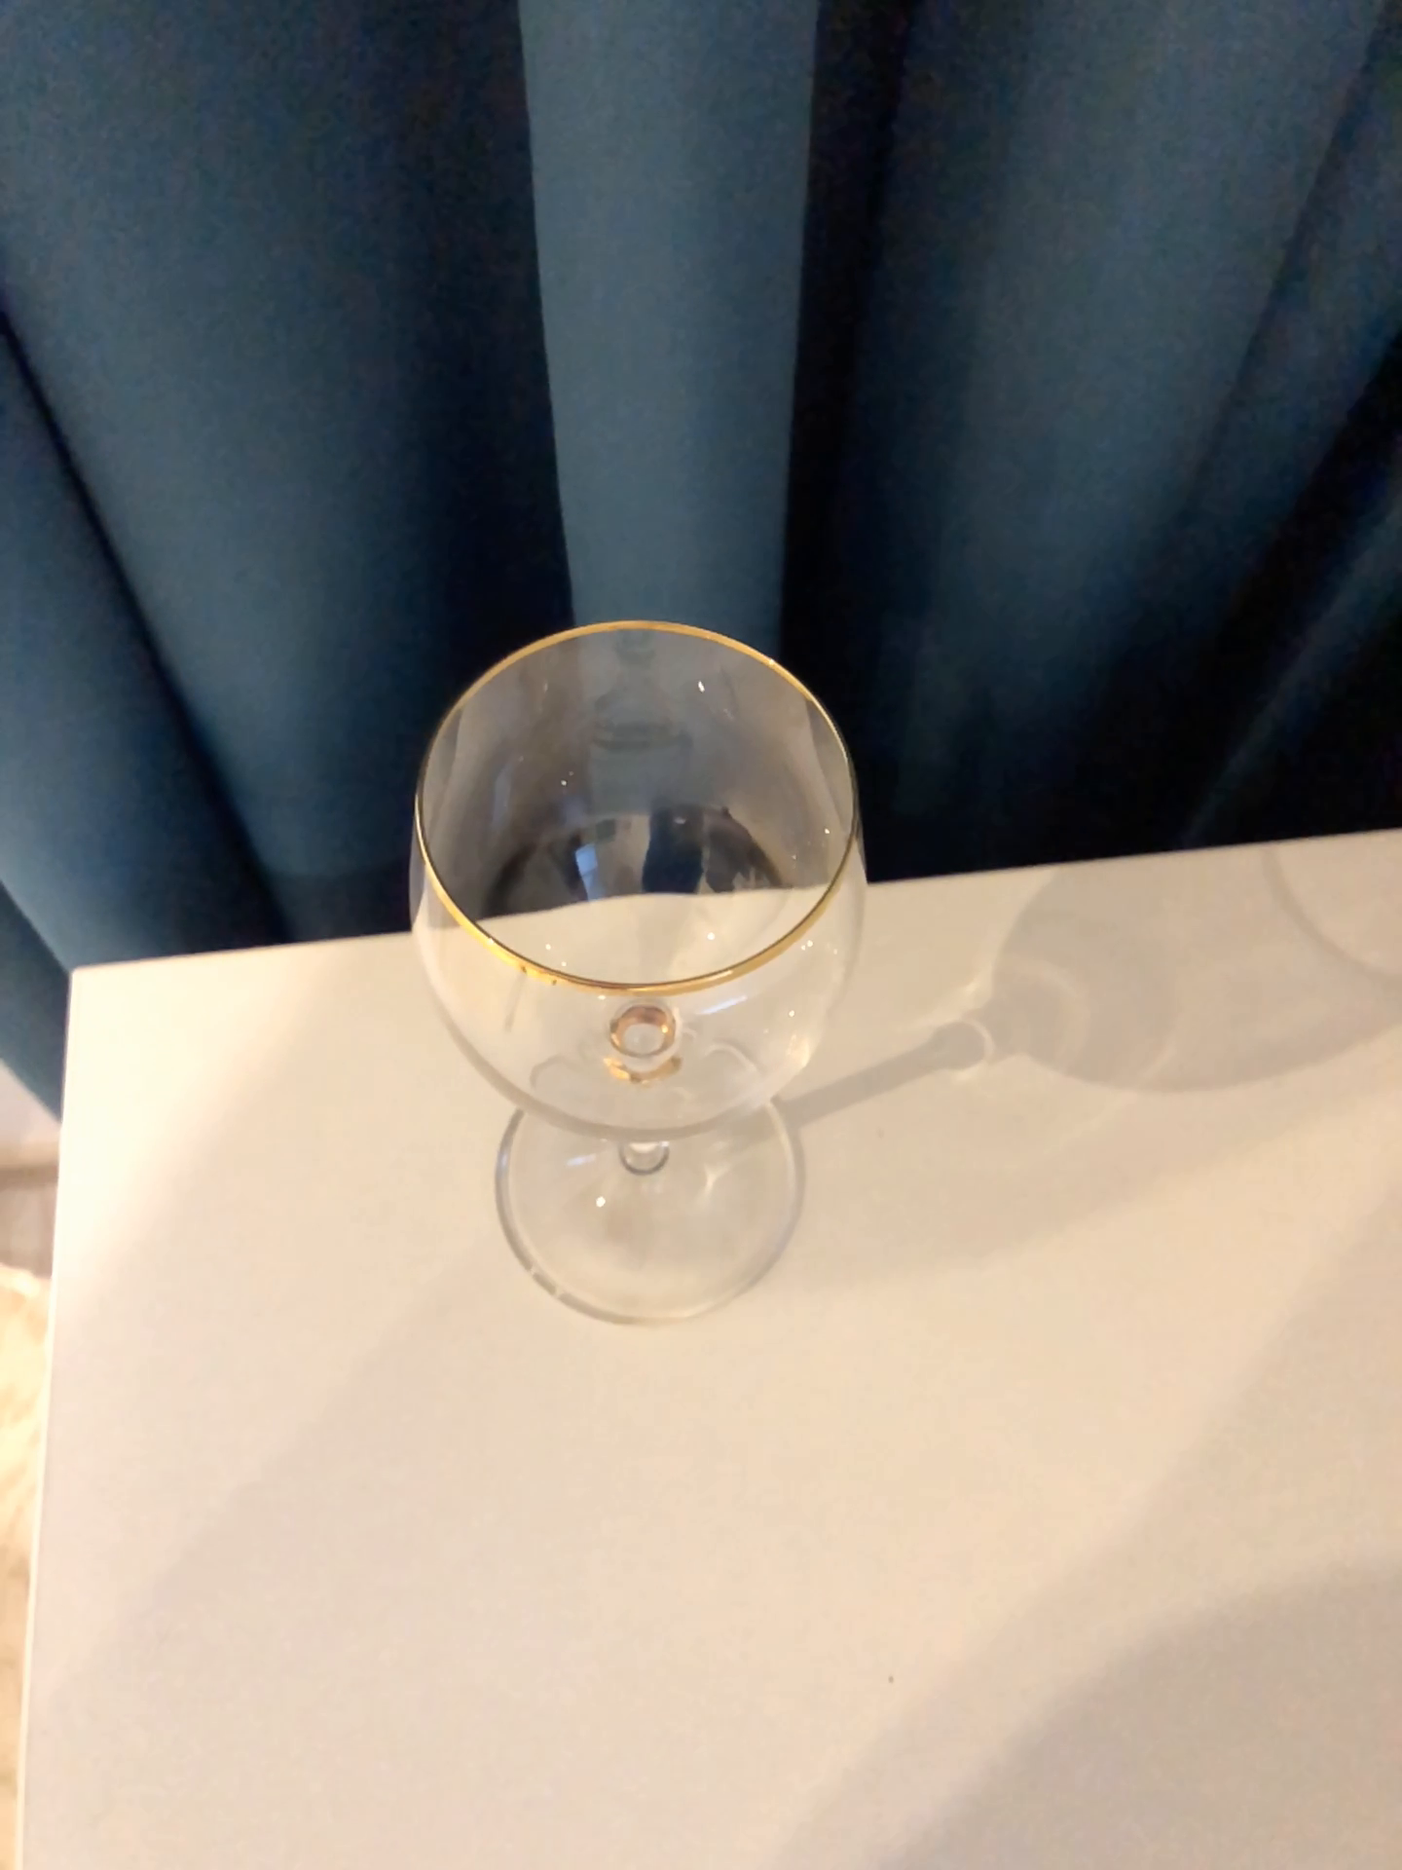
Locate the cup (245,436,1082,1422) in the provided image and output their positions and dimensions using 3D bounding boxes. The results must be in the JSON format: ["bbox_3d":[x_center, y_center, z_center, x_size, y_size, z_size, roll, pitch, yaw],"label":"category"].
[{"bbox_3d":[-0.004,0.012,0.329,0.100,0.179,0.100,0,59,0],"label":"cup"}]
